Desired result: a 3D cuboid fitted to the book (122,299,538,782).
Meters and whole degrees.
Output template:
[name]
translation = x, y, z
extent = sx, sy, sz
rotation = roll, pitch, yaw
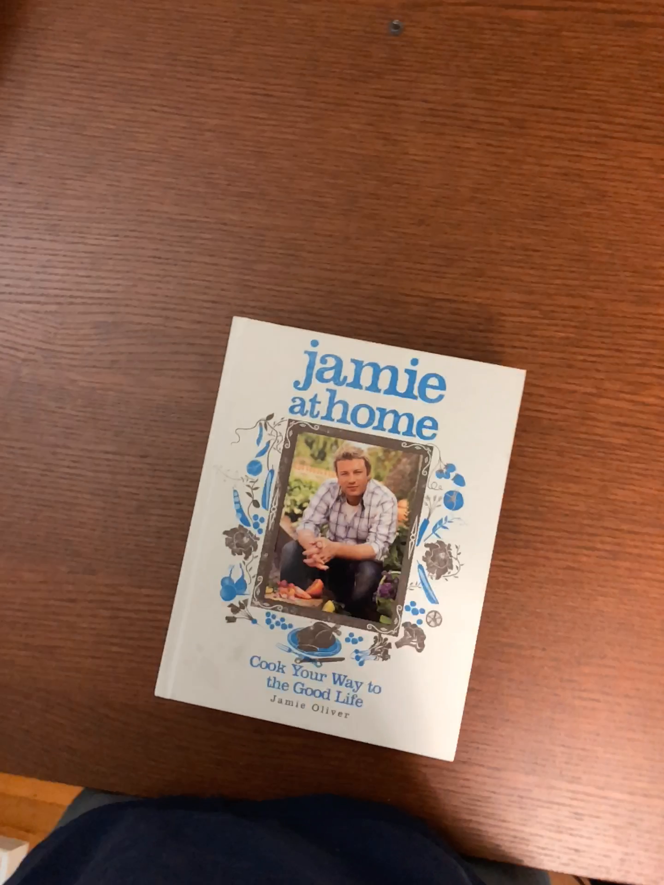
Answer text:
[book]
translation = 0.000, 0.057, 0.474
extent = 0.210, 0.040, 0.260
rotation = 11, 87, 5
